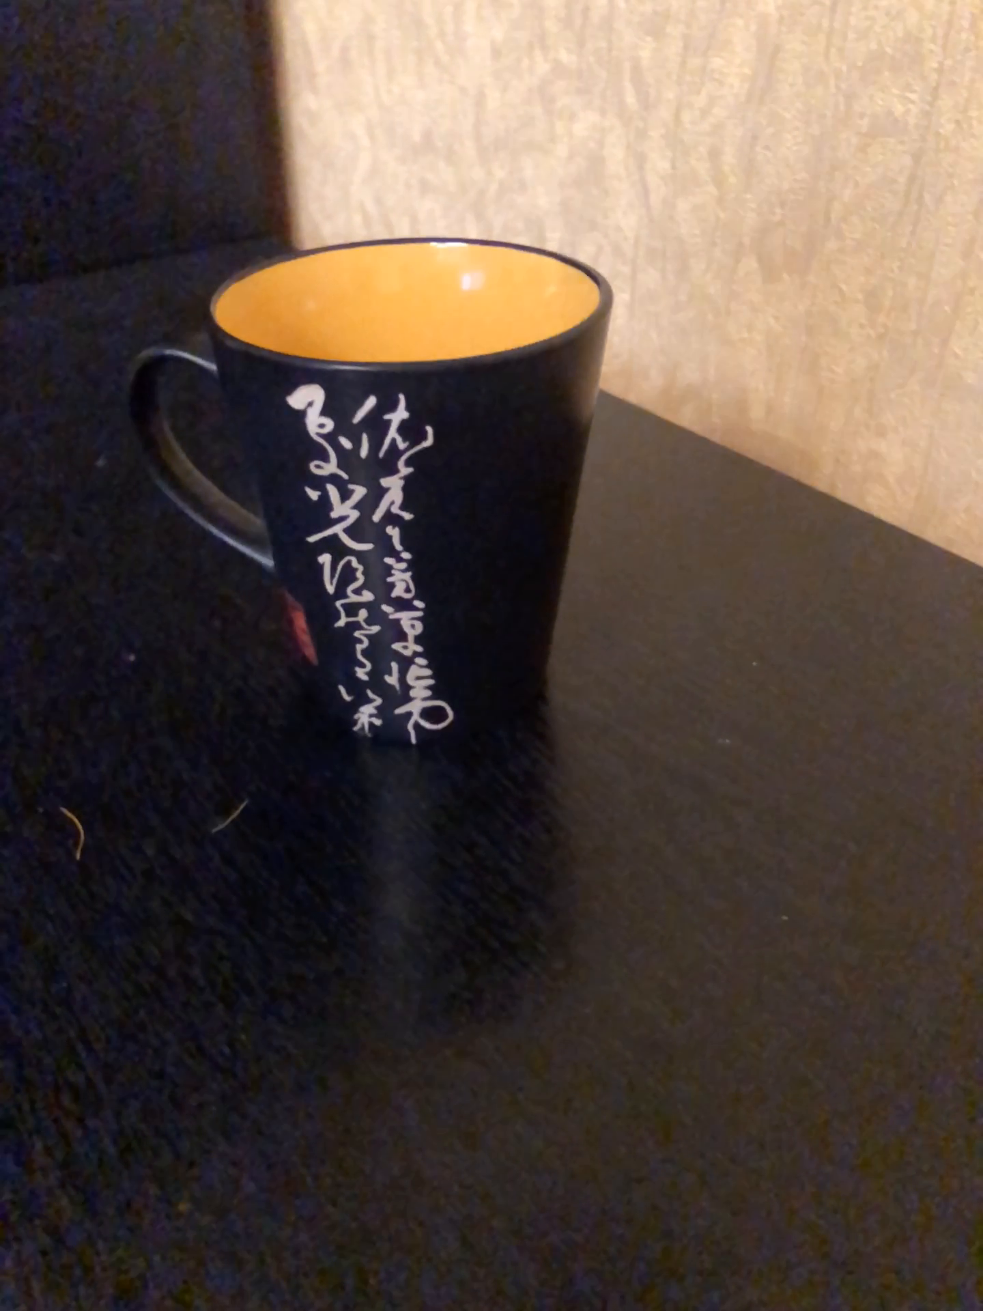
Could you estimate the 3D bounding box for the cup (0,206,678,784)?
[{"bbox_3d":[-0.029,-0.046,0.276,0.130,0.099,0.090,9,37,12],"label":"cup"}]
